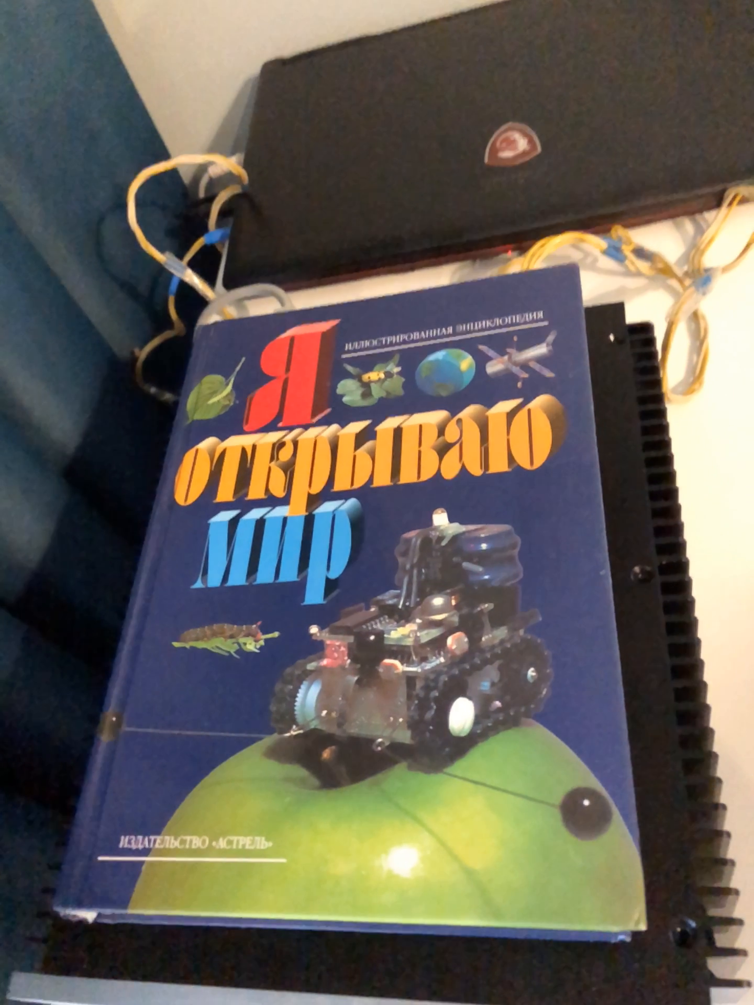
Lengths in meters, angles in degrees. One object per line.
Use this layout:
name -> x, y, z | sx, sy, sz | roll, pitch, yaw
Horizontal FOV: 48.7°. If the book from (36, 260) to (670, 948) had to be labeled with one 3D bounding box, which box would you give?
book -> -0.002, 0.019, 0.318 | 0.186, 0.030, 0.257 | -5, 55, 15
